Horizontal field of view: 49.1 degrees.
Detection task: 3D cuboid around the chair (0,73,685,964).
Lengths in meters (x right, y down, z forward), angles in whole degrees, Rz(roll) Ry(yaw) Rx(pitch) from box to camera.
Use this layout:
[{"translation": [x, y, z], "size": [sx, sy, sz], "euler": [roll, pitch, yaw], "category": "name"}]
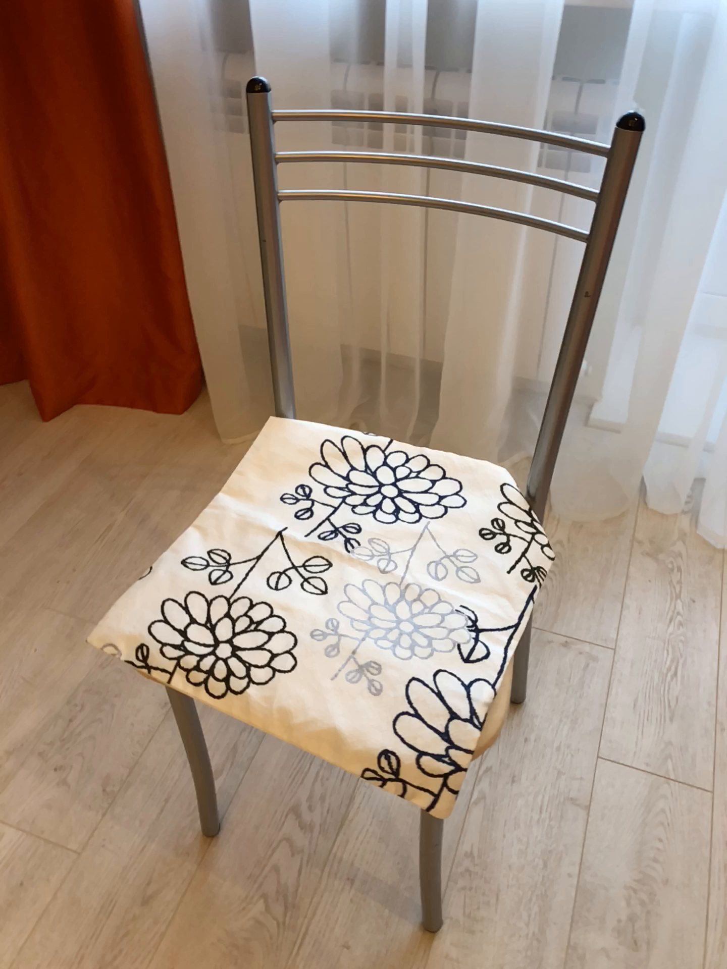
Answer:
[{"translation": [0.014, 0.066, 0.856], "size": [0.420, 0.794, 0.443], "euler": [13, 44, 16], "category": "chair"}]
